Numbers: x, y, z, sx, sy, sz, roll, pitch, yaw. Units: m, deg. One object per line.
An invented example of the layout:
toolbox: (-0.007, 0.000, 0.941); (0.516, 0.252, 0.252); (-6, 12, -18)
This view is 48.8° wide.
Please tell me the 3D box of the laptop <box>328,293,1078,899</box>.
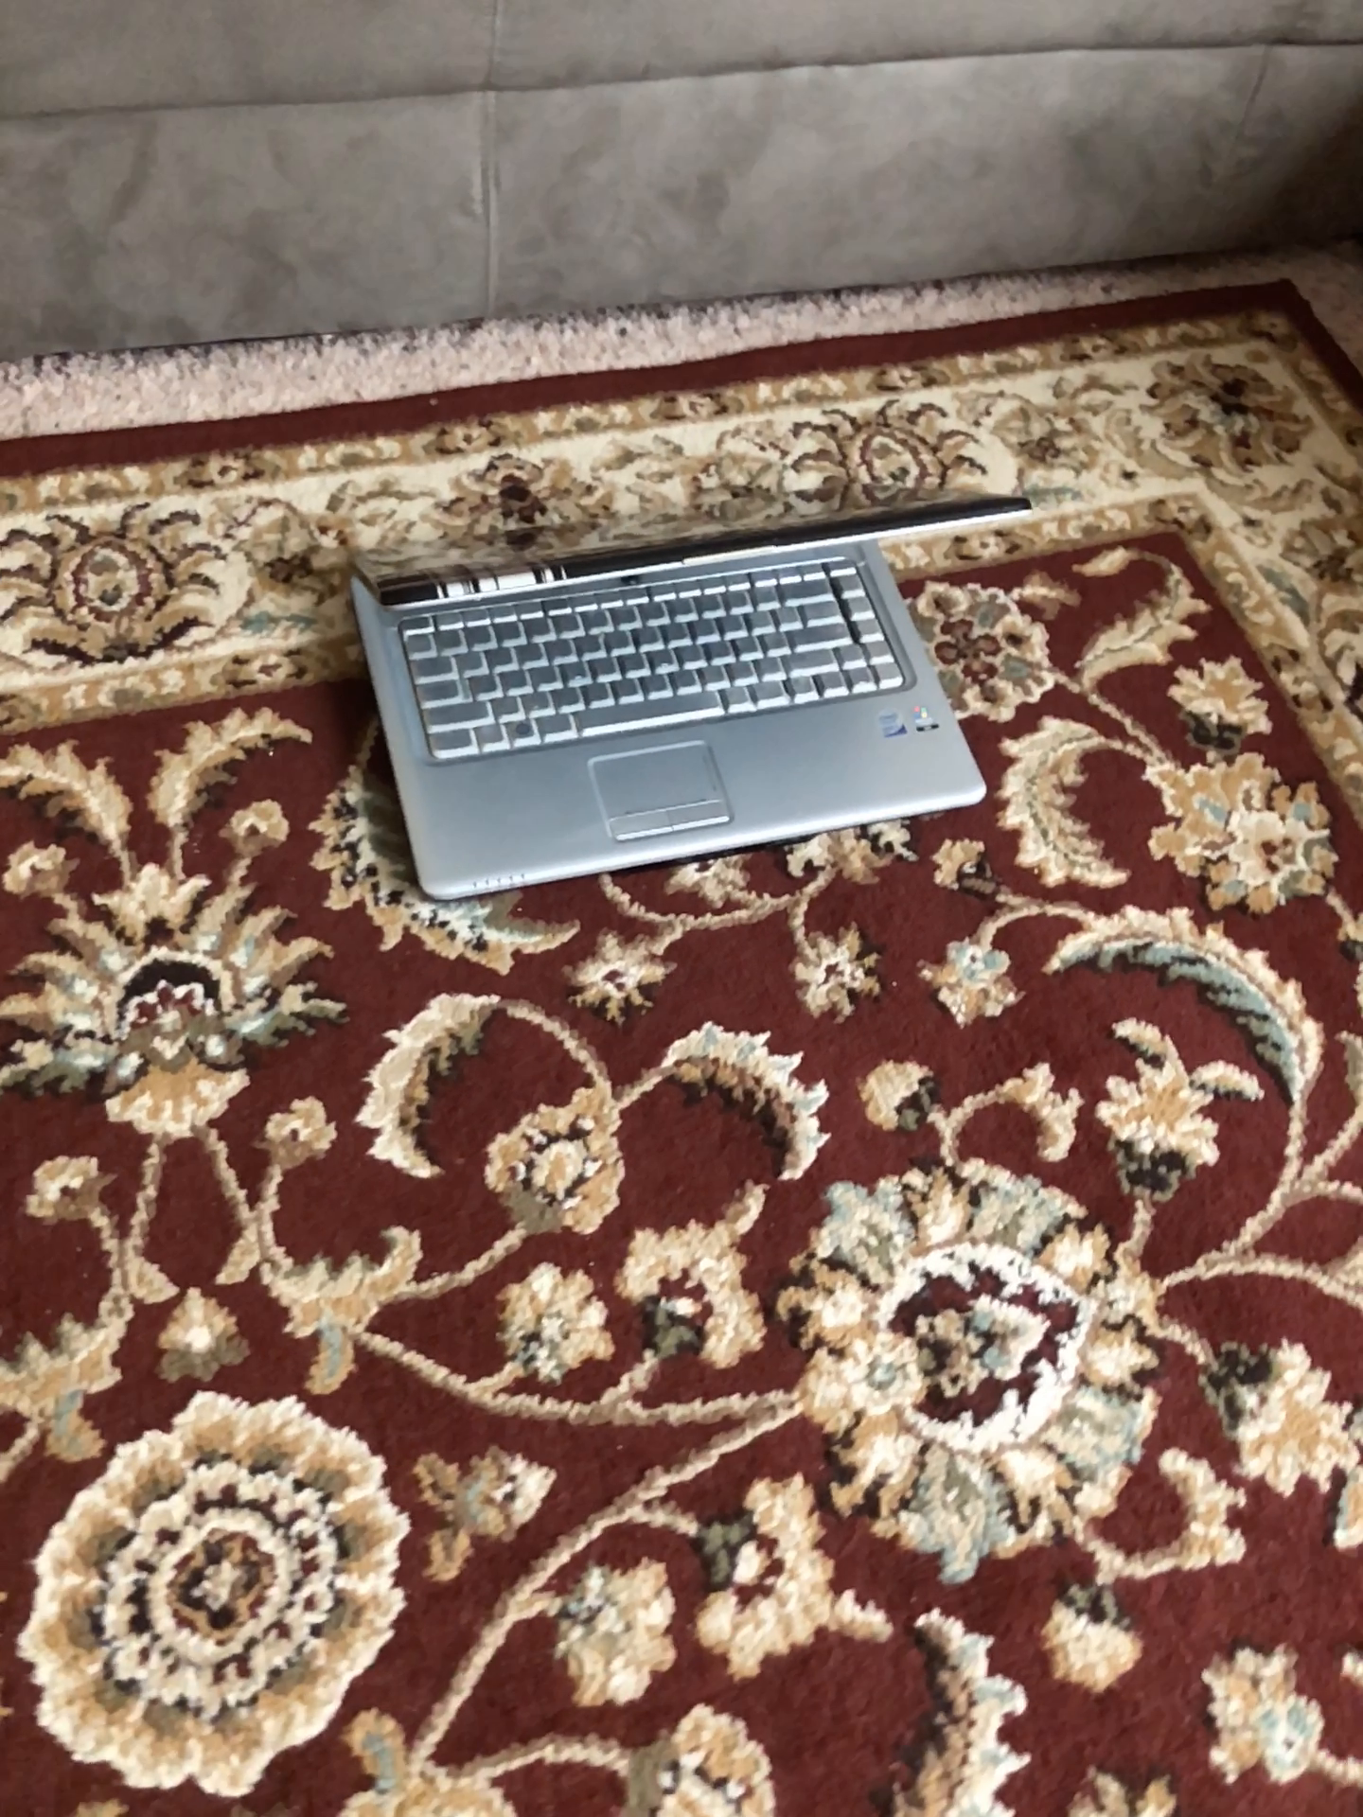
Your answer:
laptop: (-0.001, -0.184, 0.856); (0.342, 0.164, 0.244); (-11, 61, -14)
